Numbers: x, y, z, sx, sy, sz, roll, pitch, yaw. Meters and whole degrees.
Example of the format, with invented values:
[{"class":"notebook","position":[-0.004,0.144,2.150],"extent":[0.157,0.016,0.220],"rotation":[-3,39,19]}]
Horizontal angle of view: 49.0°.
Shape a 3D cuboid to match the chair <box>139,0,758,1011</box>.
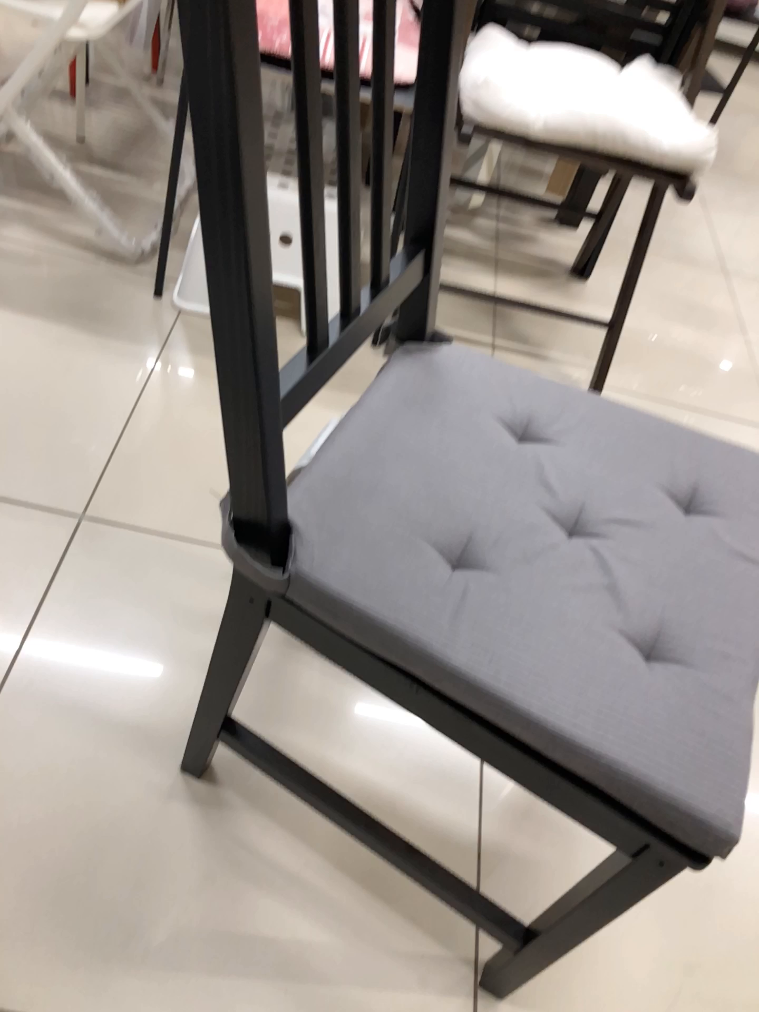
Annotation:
[{"class":"chair","position":[0.115,0.021,0.695],"extent":[0.460,0.854,0.403],"rotation":[26,47,8]}]
